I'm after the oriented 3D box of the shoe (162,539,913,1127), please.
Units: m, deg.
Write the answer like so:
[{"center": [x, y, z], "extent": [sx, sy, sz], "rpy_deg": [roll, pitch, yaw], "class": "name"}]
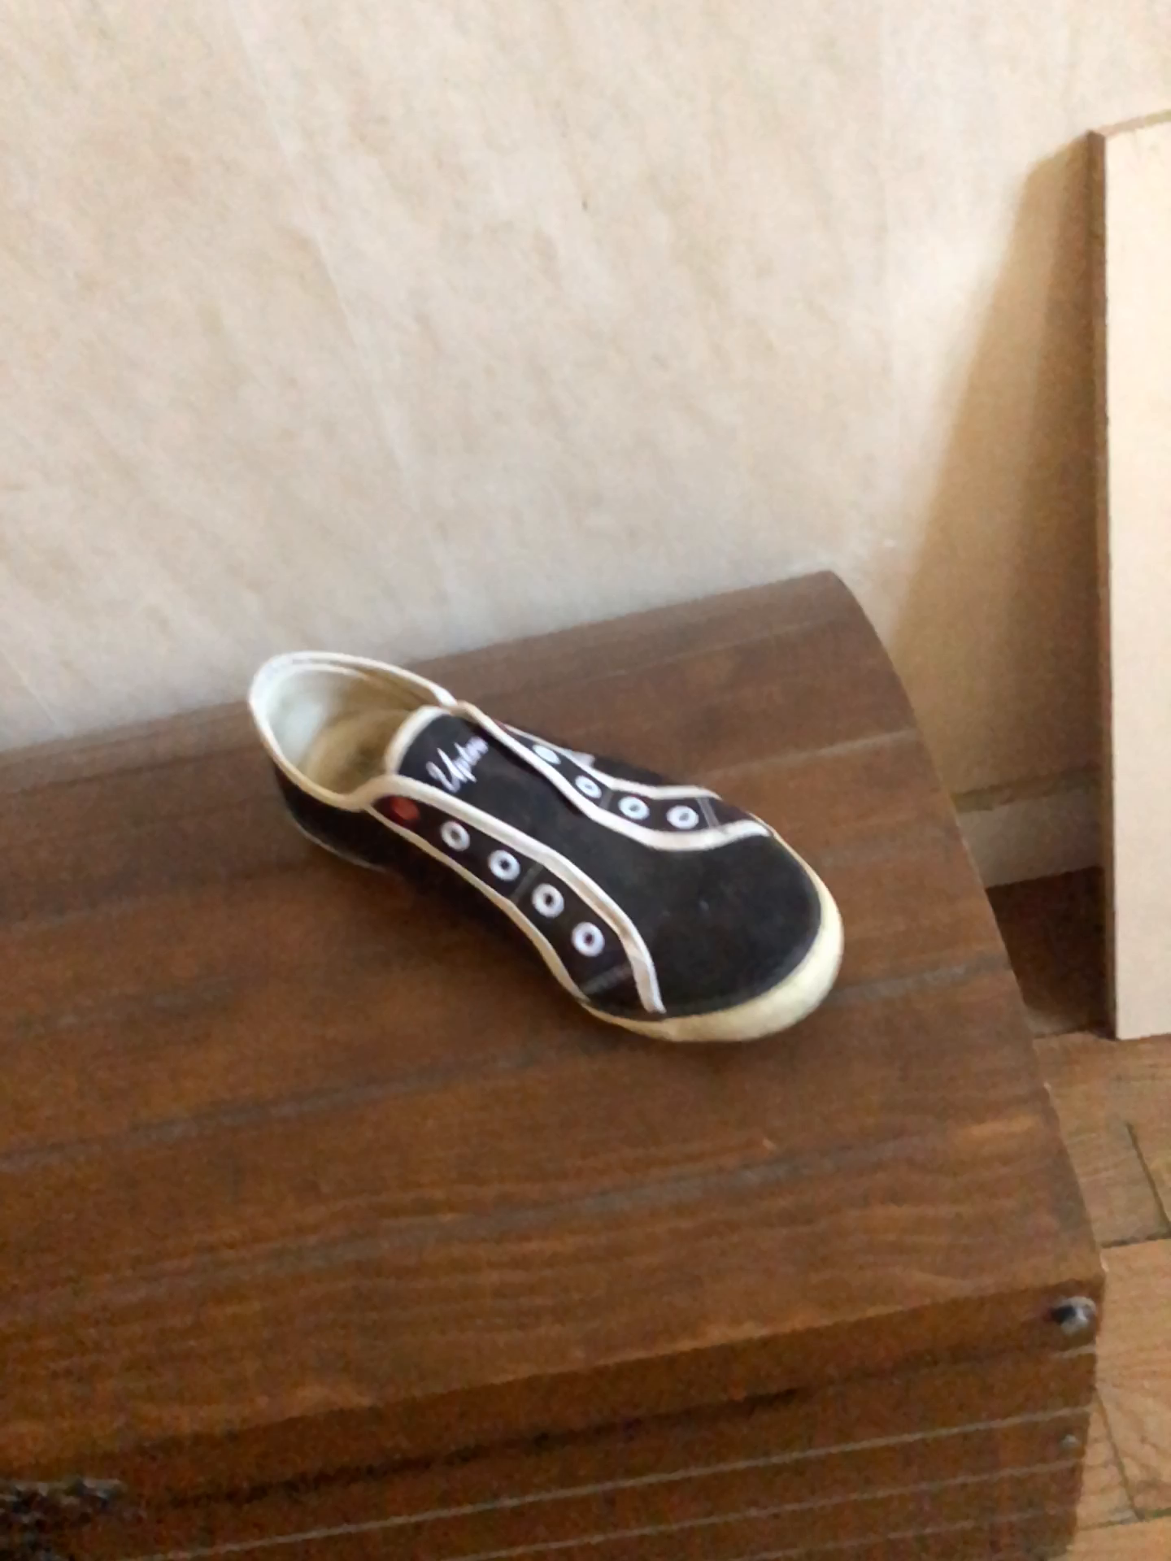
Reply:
[{"center": [-0.020, 0.006, 0.453], "extent": [0.240, 0.080, 0.100], "rpy_deg": [23, 59, 31], "class": "shoe"}]
